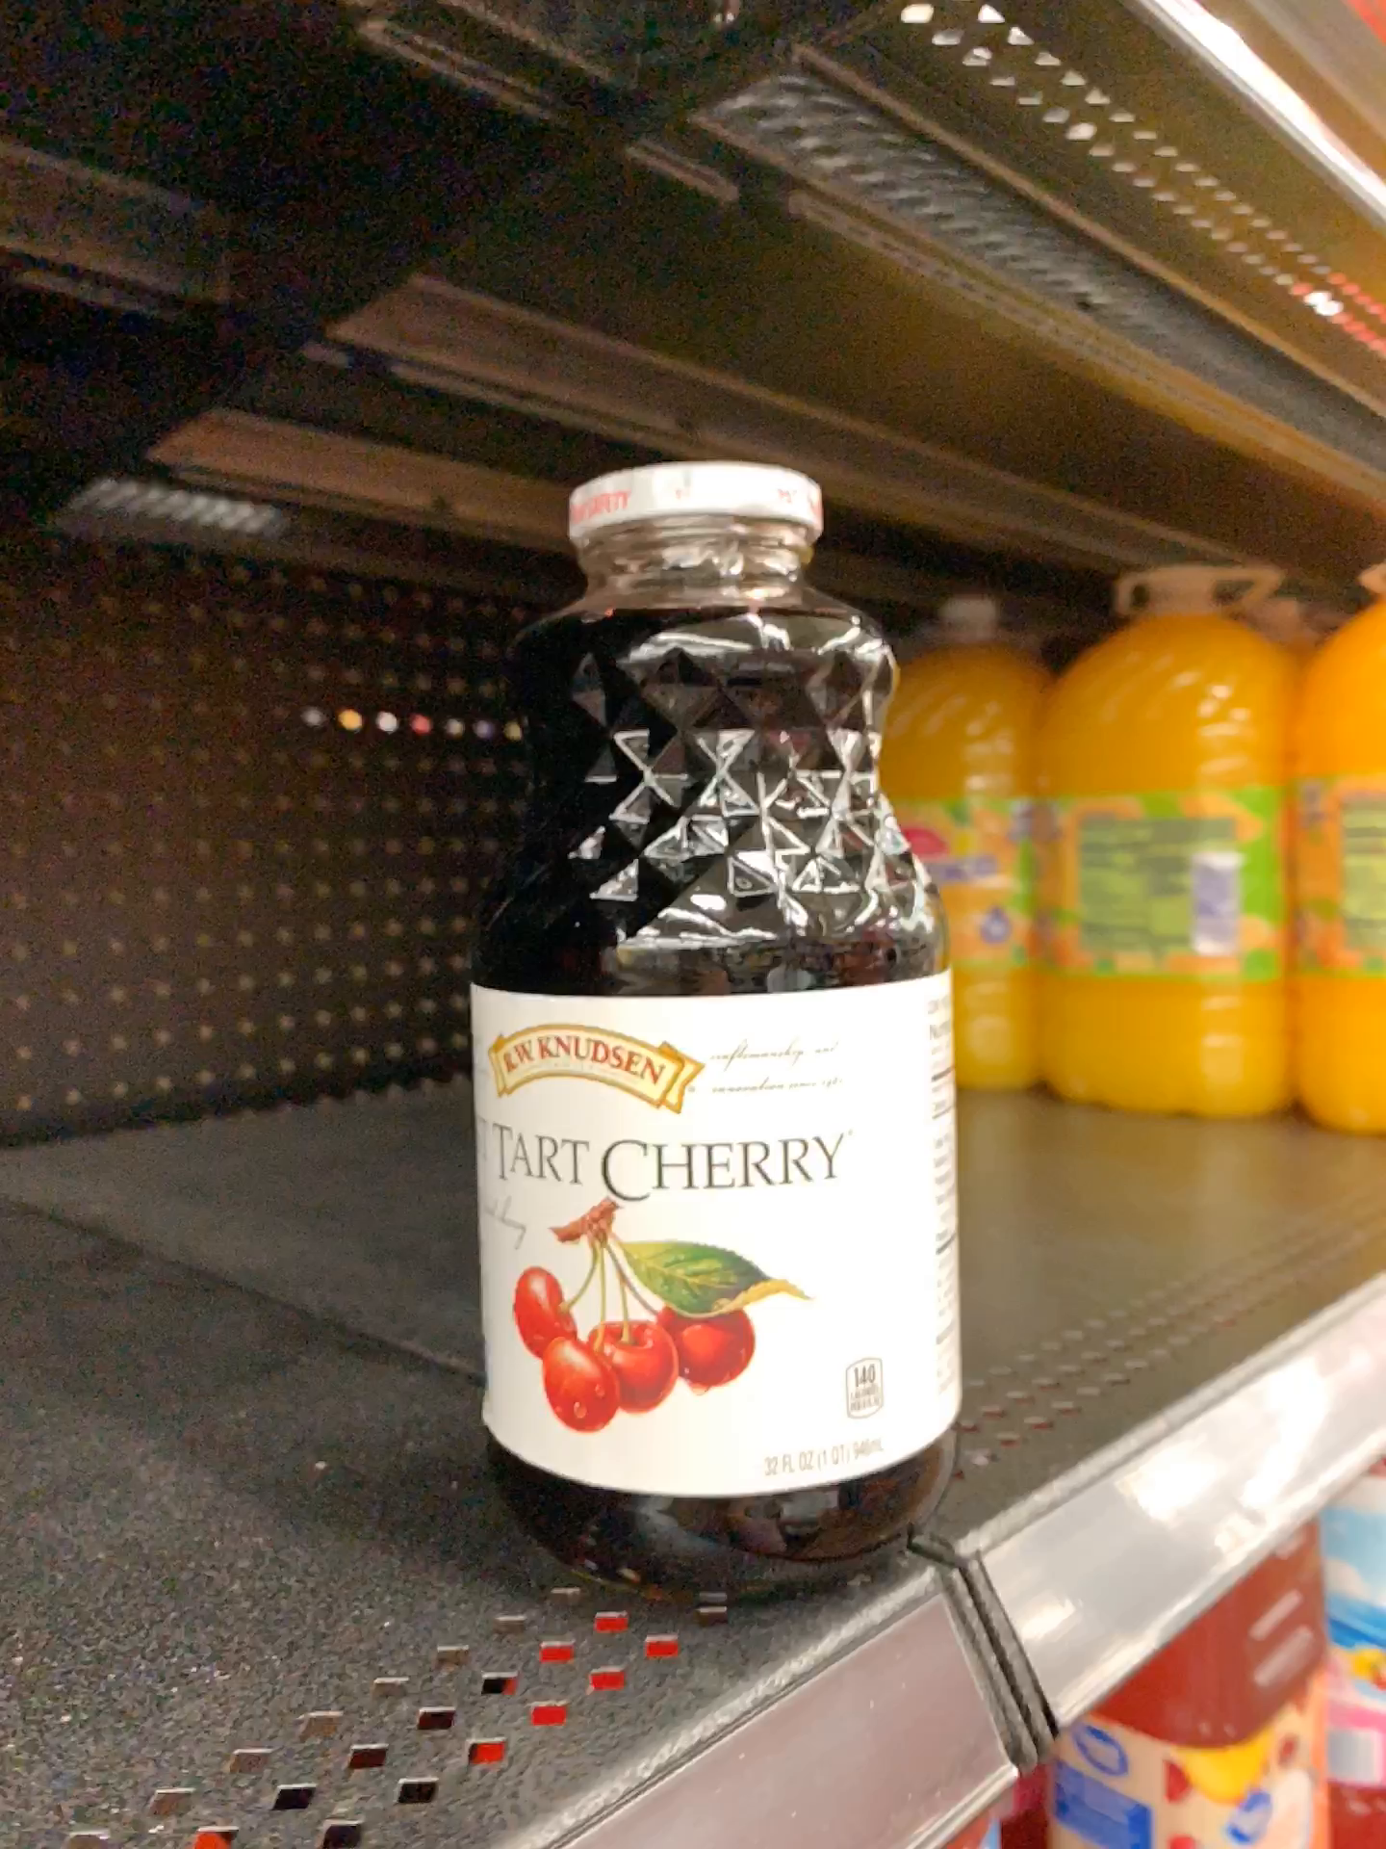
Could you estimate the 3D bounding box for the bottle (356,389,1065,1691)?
[{"bbox_3d":[0.010,0.015,0.295,0.100,0.200,0.110,1,4,30],"label":"bottle"}]
